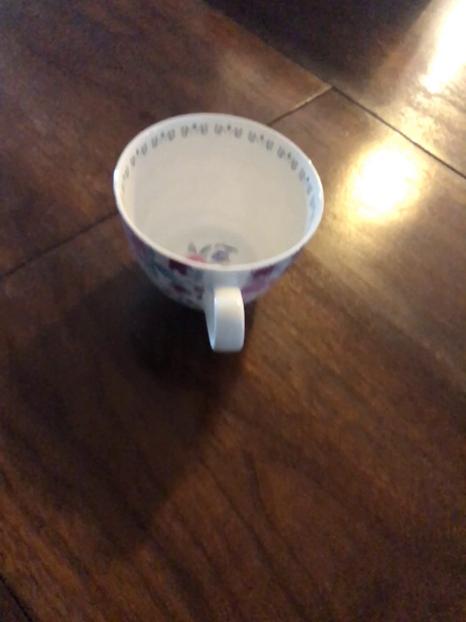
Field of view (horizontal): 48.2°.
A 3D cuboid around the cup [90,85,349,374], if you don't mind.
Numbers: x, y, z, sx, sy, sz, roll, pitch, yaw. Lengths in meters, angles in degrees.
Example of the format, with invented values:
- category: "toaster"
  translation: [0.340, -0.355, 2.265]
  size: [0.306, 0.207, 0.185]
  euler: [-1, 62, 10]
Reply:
- category: "cup"
  translation: [-0.013, -0.051, 0.312]
  size: [0.120, 0.070, 0.160]
  euler: [0, 58, -8]
